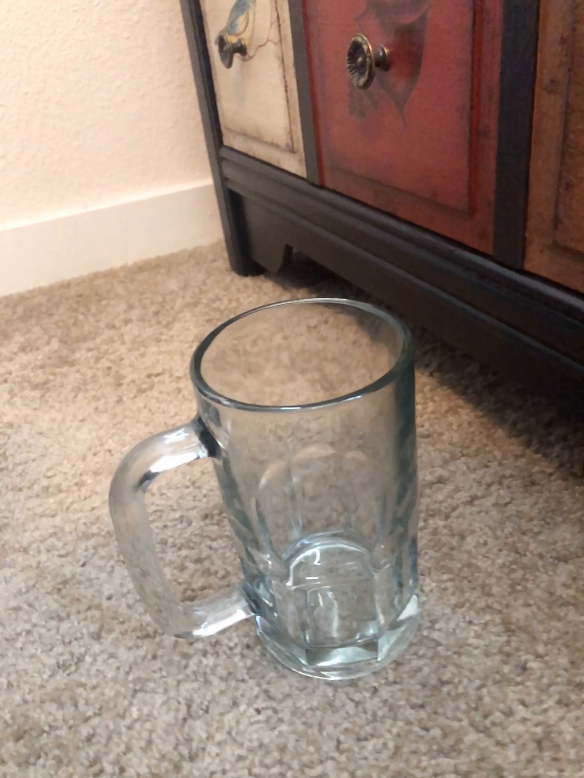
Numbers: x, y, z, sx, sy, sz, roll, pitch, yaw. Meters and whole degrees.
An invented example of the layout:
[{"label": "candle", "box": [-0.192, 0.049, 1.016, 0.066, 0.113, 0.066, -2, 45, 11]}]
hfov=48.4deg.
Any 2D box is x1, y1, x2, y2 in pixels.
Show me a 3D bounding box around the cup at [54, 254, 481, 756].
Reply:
[{"label": "cup", "box": [-0.008, 0.045, 0.286, 0.133, 0.155, 0.097, -19, 35, -18]}]
